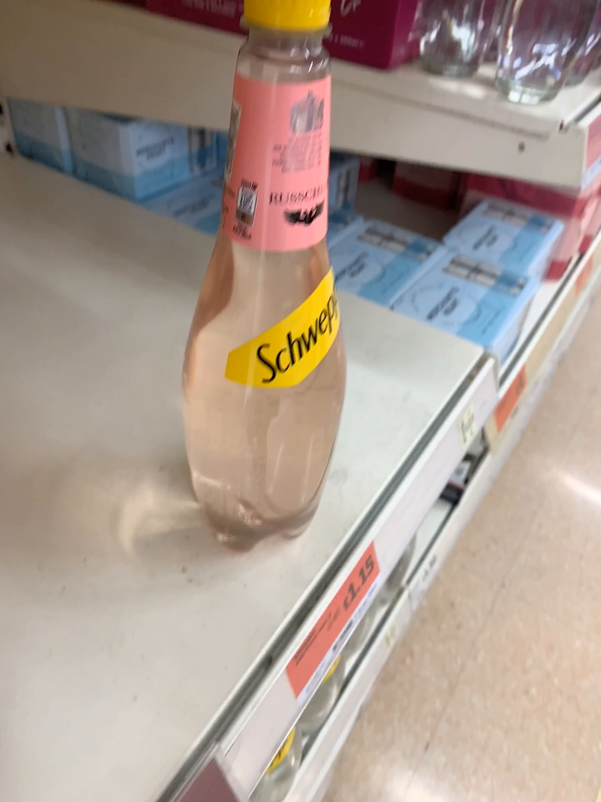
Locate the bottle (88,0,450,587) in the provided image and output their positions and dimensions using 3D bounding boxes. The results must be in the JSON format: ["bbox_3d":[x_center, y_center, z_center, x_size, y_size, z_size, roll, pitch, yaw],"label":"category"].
[{"bbox_3d":[-0.022,-0.042,0.312,0.090,0.299,0.085,4,42,-3],"label":"bottle"}]
